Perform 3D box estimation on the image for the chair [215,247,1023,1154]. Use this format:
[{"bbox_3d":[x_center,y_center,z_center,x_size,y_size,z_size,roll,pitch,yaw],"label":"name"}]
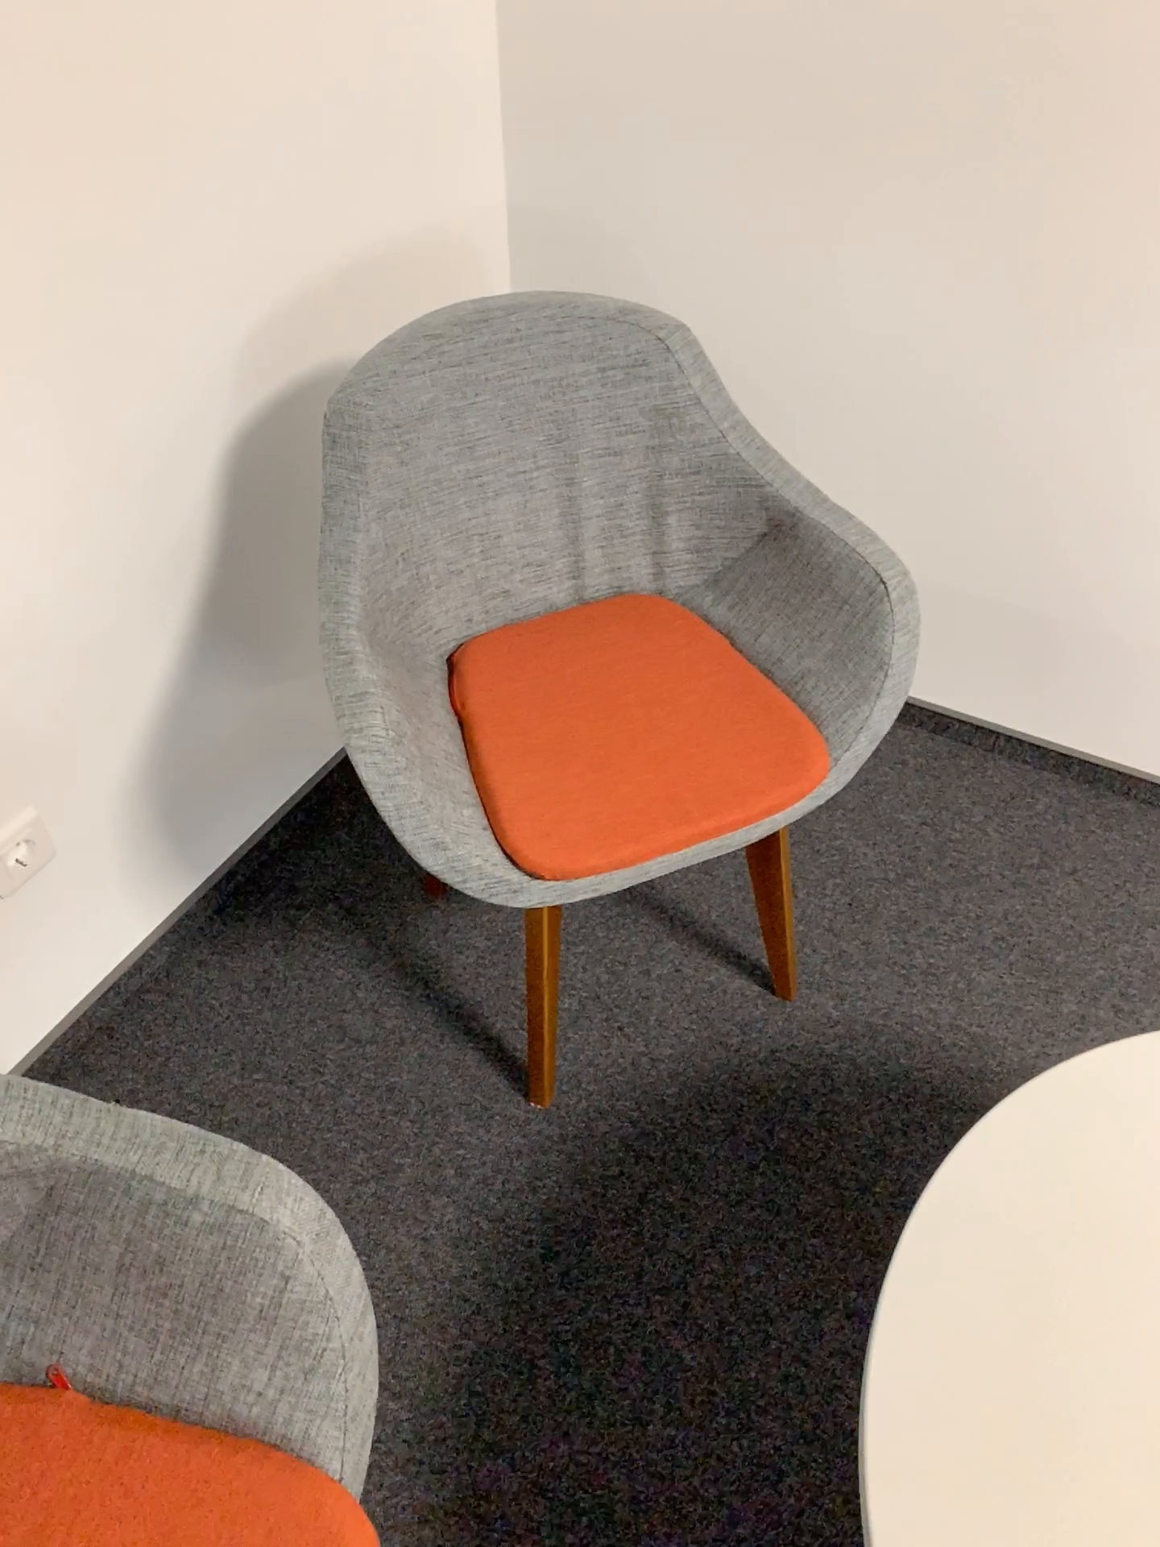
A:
[{"bbox_3d":[0.015,-0.074,1.441,0.631,0.836,0.502,-17,47,-17],"label":"chair"}]
